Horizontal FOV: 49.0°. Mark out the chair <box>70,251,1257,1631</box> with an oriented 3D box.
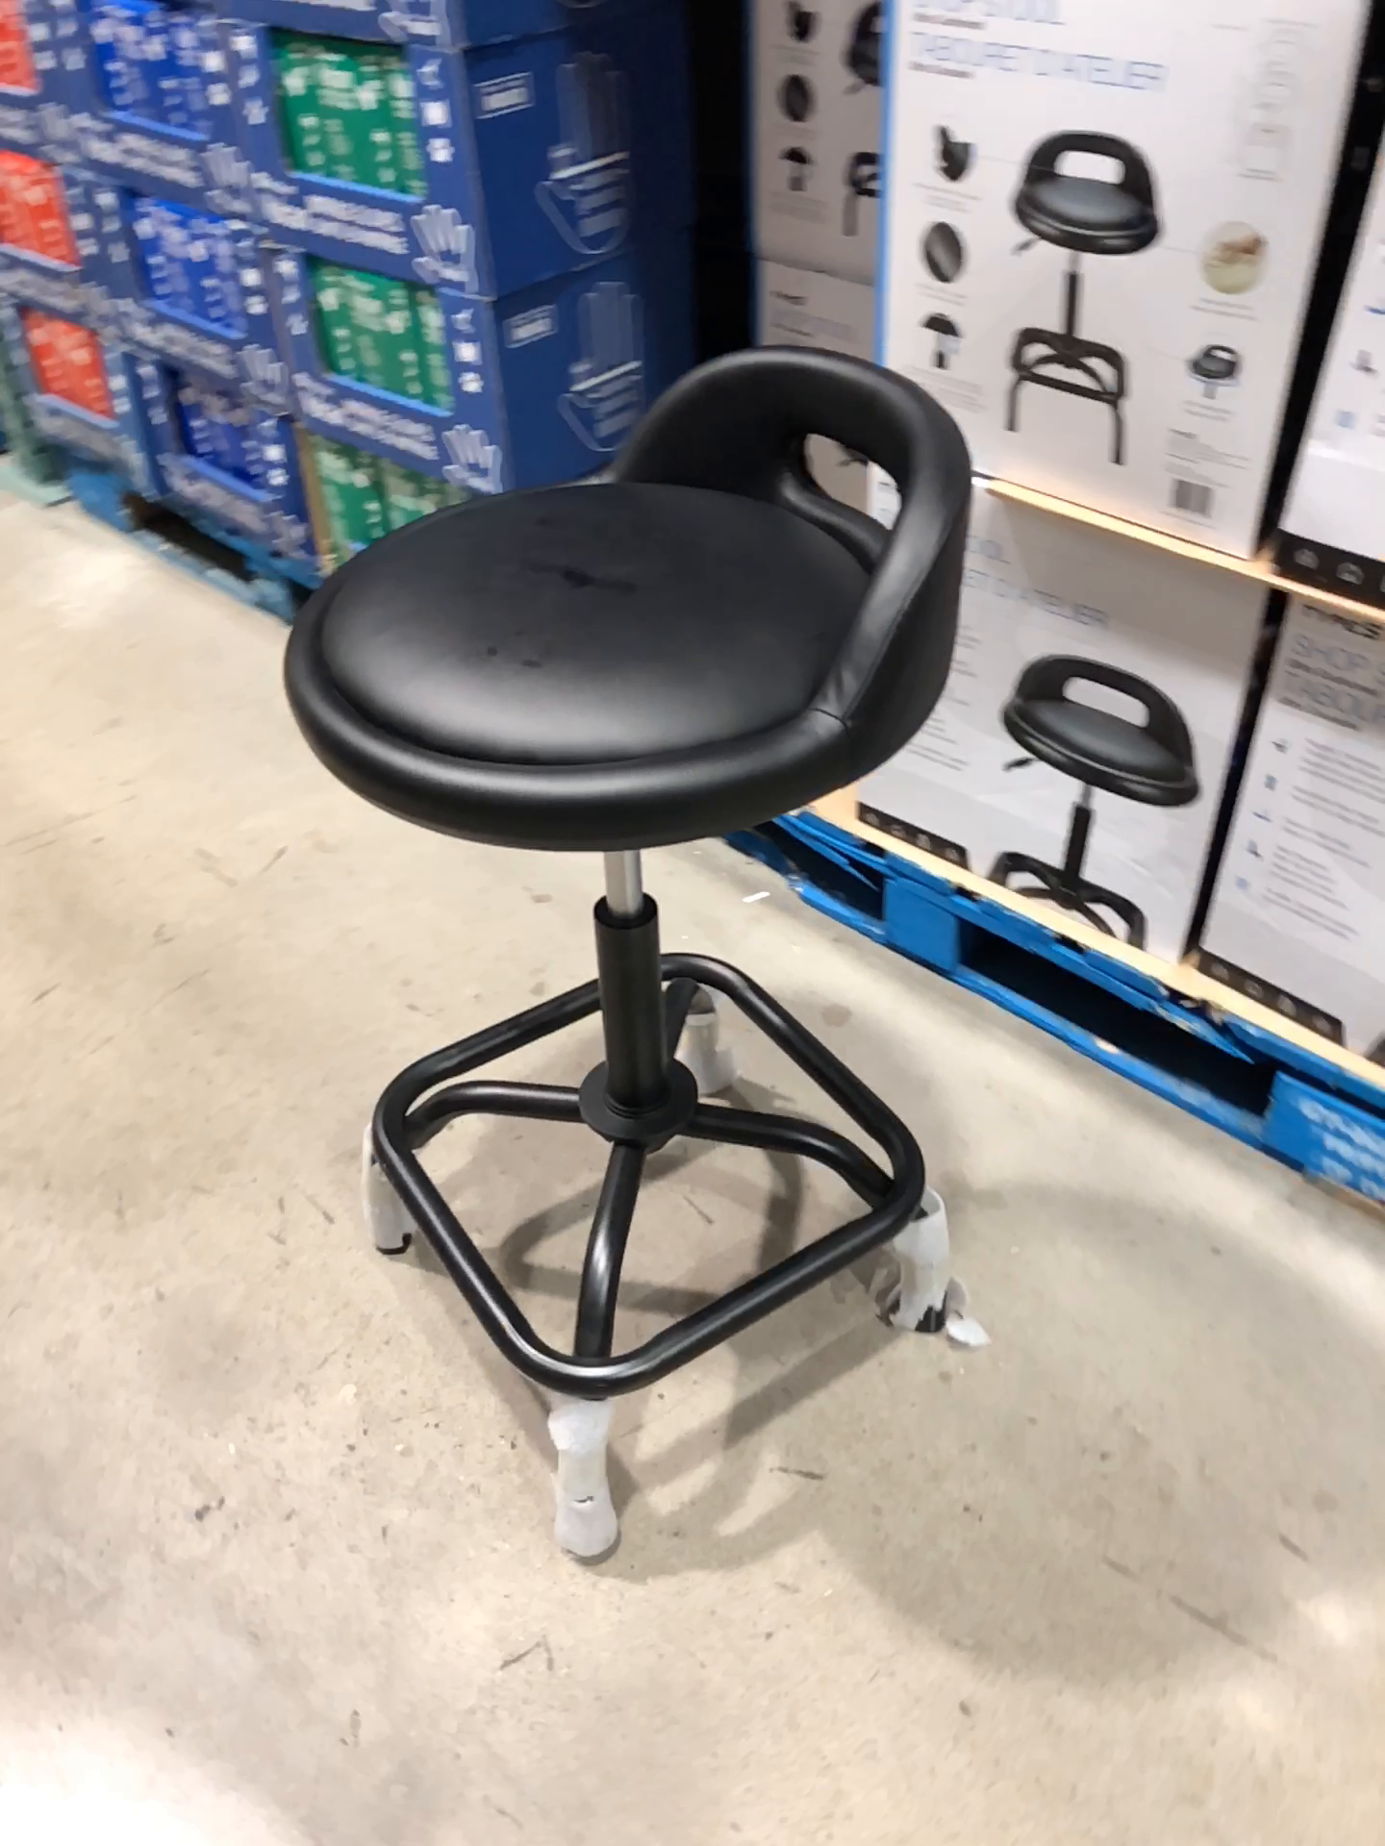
[{"bbox_3d":[-0.027,0.003,1.120,0.510,0.747,0.482,-24,44,-24],"label":"chair"}]
